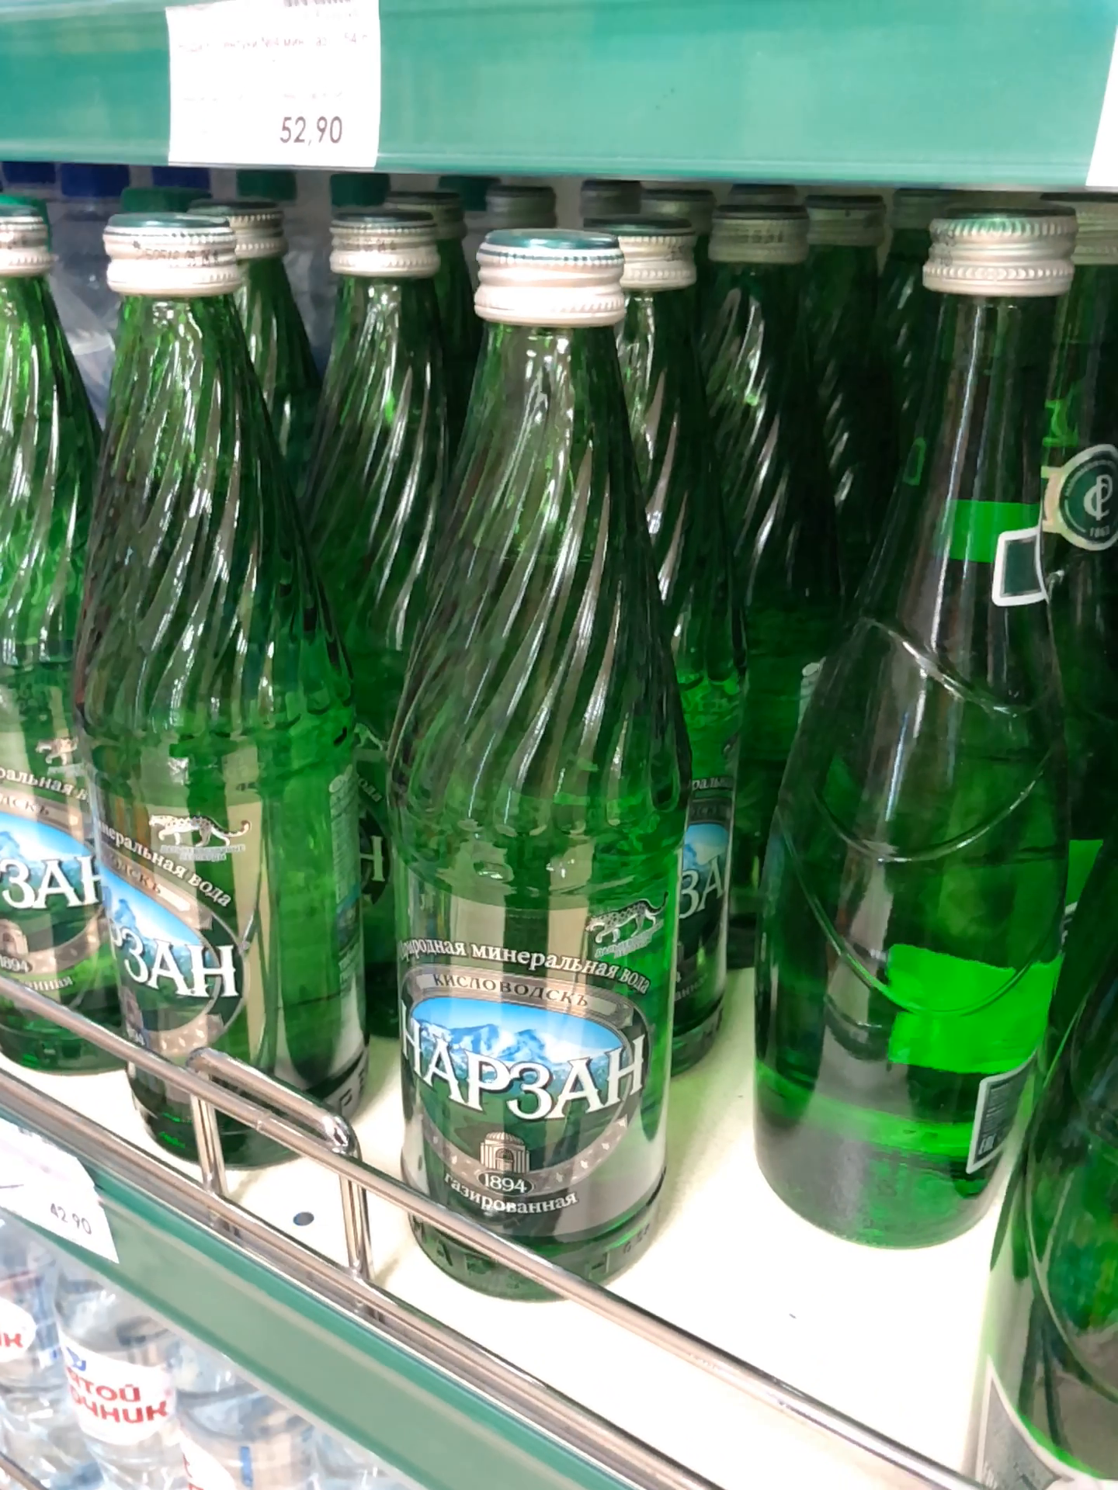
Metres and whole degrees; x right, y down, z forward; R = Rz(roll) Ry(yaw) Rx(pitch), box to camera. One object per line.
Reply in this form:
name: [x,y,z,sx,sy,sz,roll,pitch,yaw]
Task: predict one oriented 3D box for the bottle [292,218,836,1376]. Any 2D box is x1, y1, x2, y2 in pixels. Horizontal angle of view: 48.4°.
bottle: [0.001,0.015,0.276,0.080,0.240,0.060,14,27,26]
